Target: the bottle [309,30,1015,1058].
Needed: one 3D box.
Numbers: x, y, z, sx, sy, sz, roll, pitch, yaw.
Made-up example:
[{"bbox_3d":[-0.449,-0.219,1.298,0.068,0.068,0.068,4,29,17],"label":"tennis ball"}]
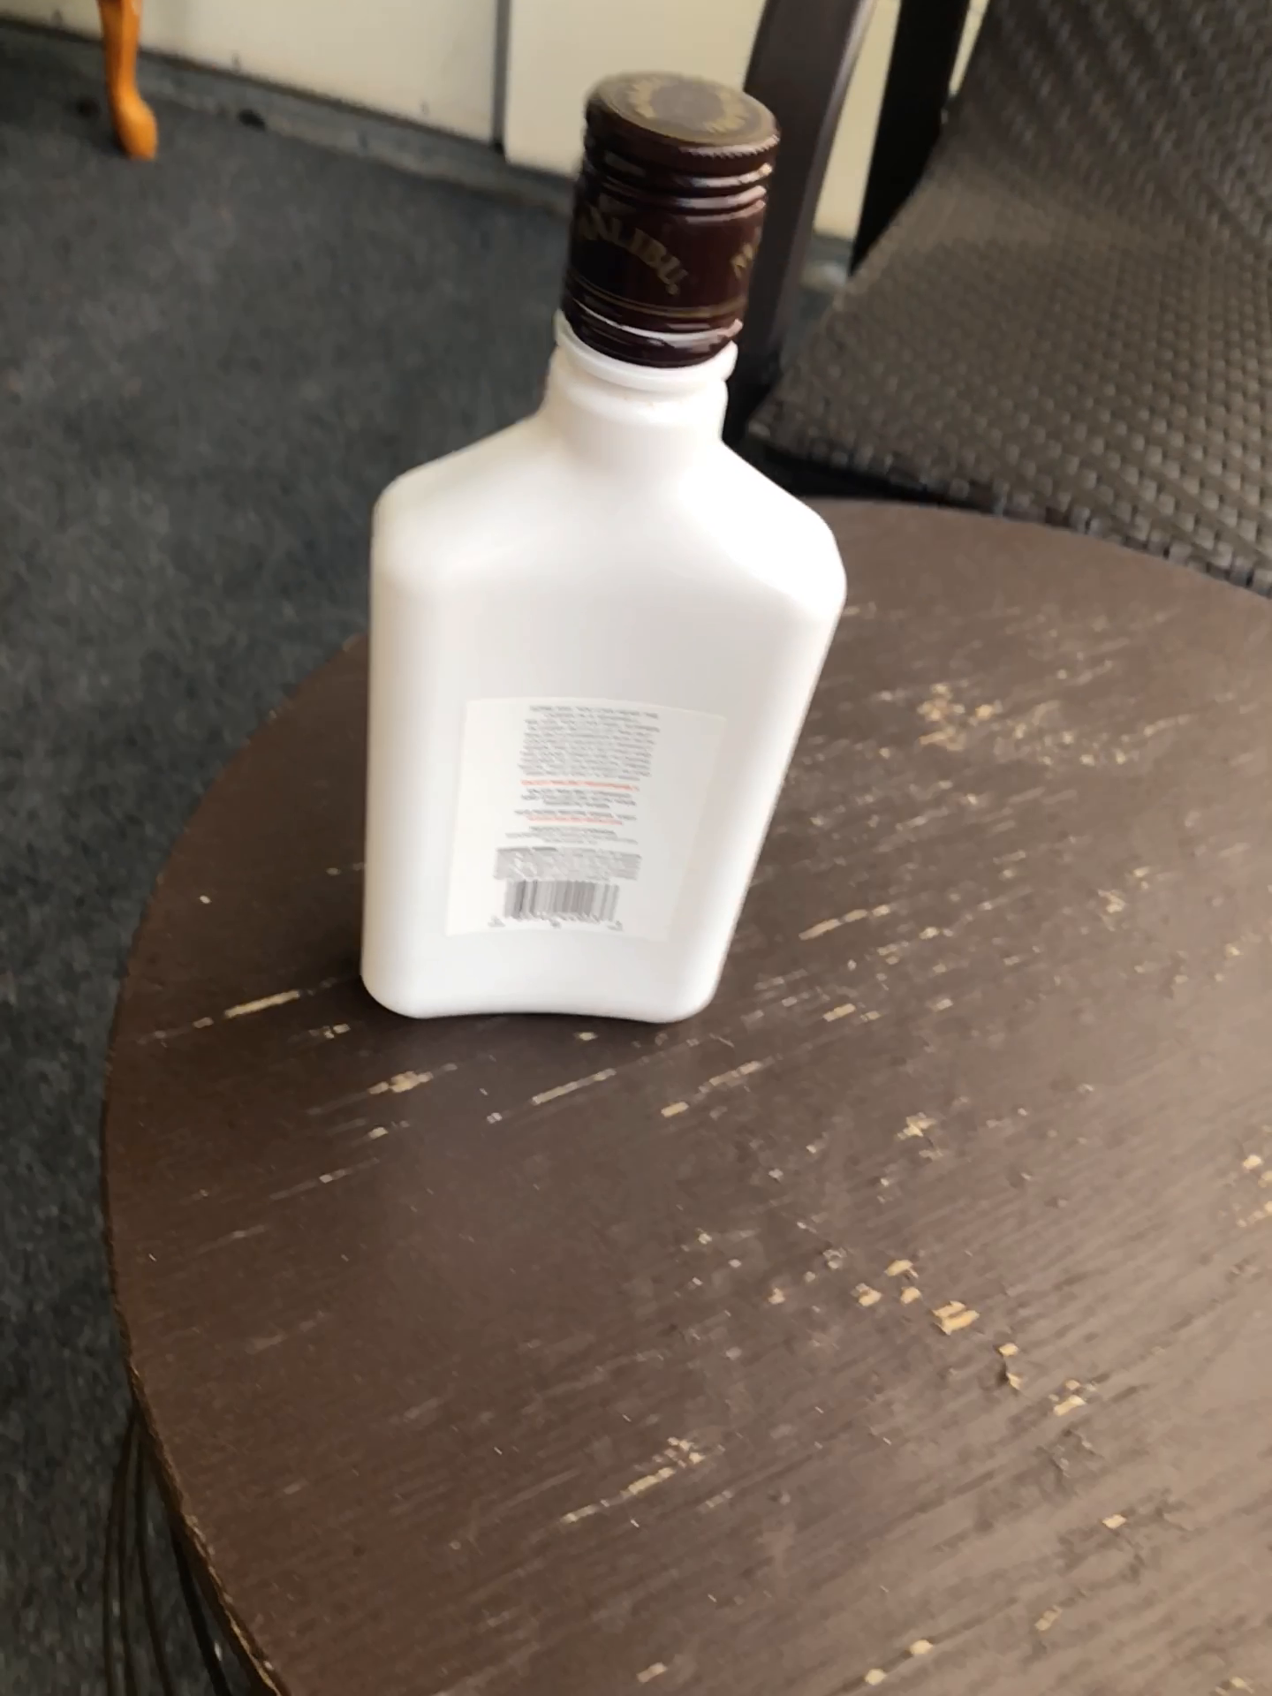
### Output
[{"bbox_3d":[-0.008,-0.038,0.288,0.100,0.210,0.045,0,46,-9],"label":"bottle"}]
